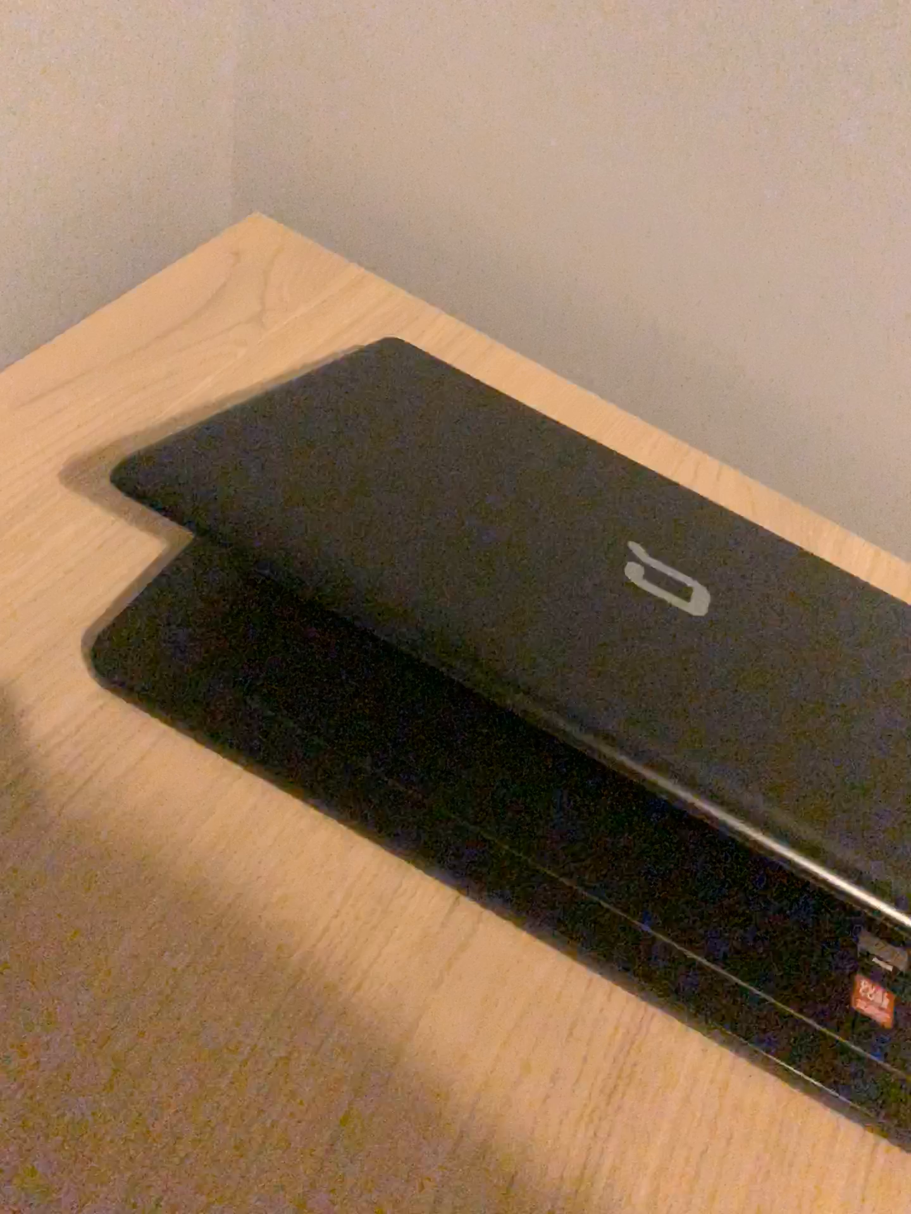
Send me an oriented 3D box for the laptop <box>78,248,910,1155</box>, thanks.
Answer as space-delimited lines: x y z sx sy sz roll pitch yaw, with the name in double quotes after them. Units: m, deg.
0.076 0.011 0.391 0.373 0.064 0.225 28 54 6 "laptop"
